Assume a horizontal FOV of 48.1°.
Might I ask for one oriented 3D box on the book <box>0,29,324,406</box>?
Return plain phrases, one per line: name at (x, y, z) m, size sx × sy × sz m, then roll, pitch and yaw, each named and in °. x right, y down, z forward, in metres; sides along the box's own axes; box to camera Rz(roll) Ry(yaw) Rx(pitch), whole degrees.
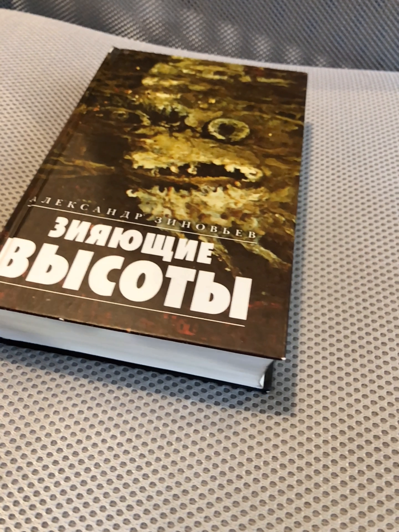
book at (-0.014, -0.041, 0.234) m, size 0.140 × 0.040 × 0.191 m, roll 10°, pitch 60°, yaw 4°
